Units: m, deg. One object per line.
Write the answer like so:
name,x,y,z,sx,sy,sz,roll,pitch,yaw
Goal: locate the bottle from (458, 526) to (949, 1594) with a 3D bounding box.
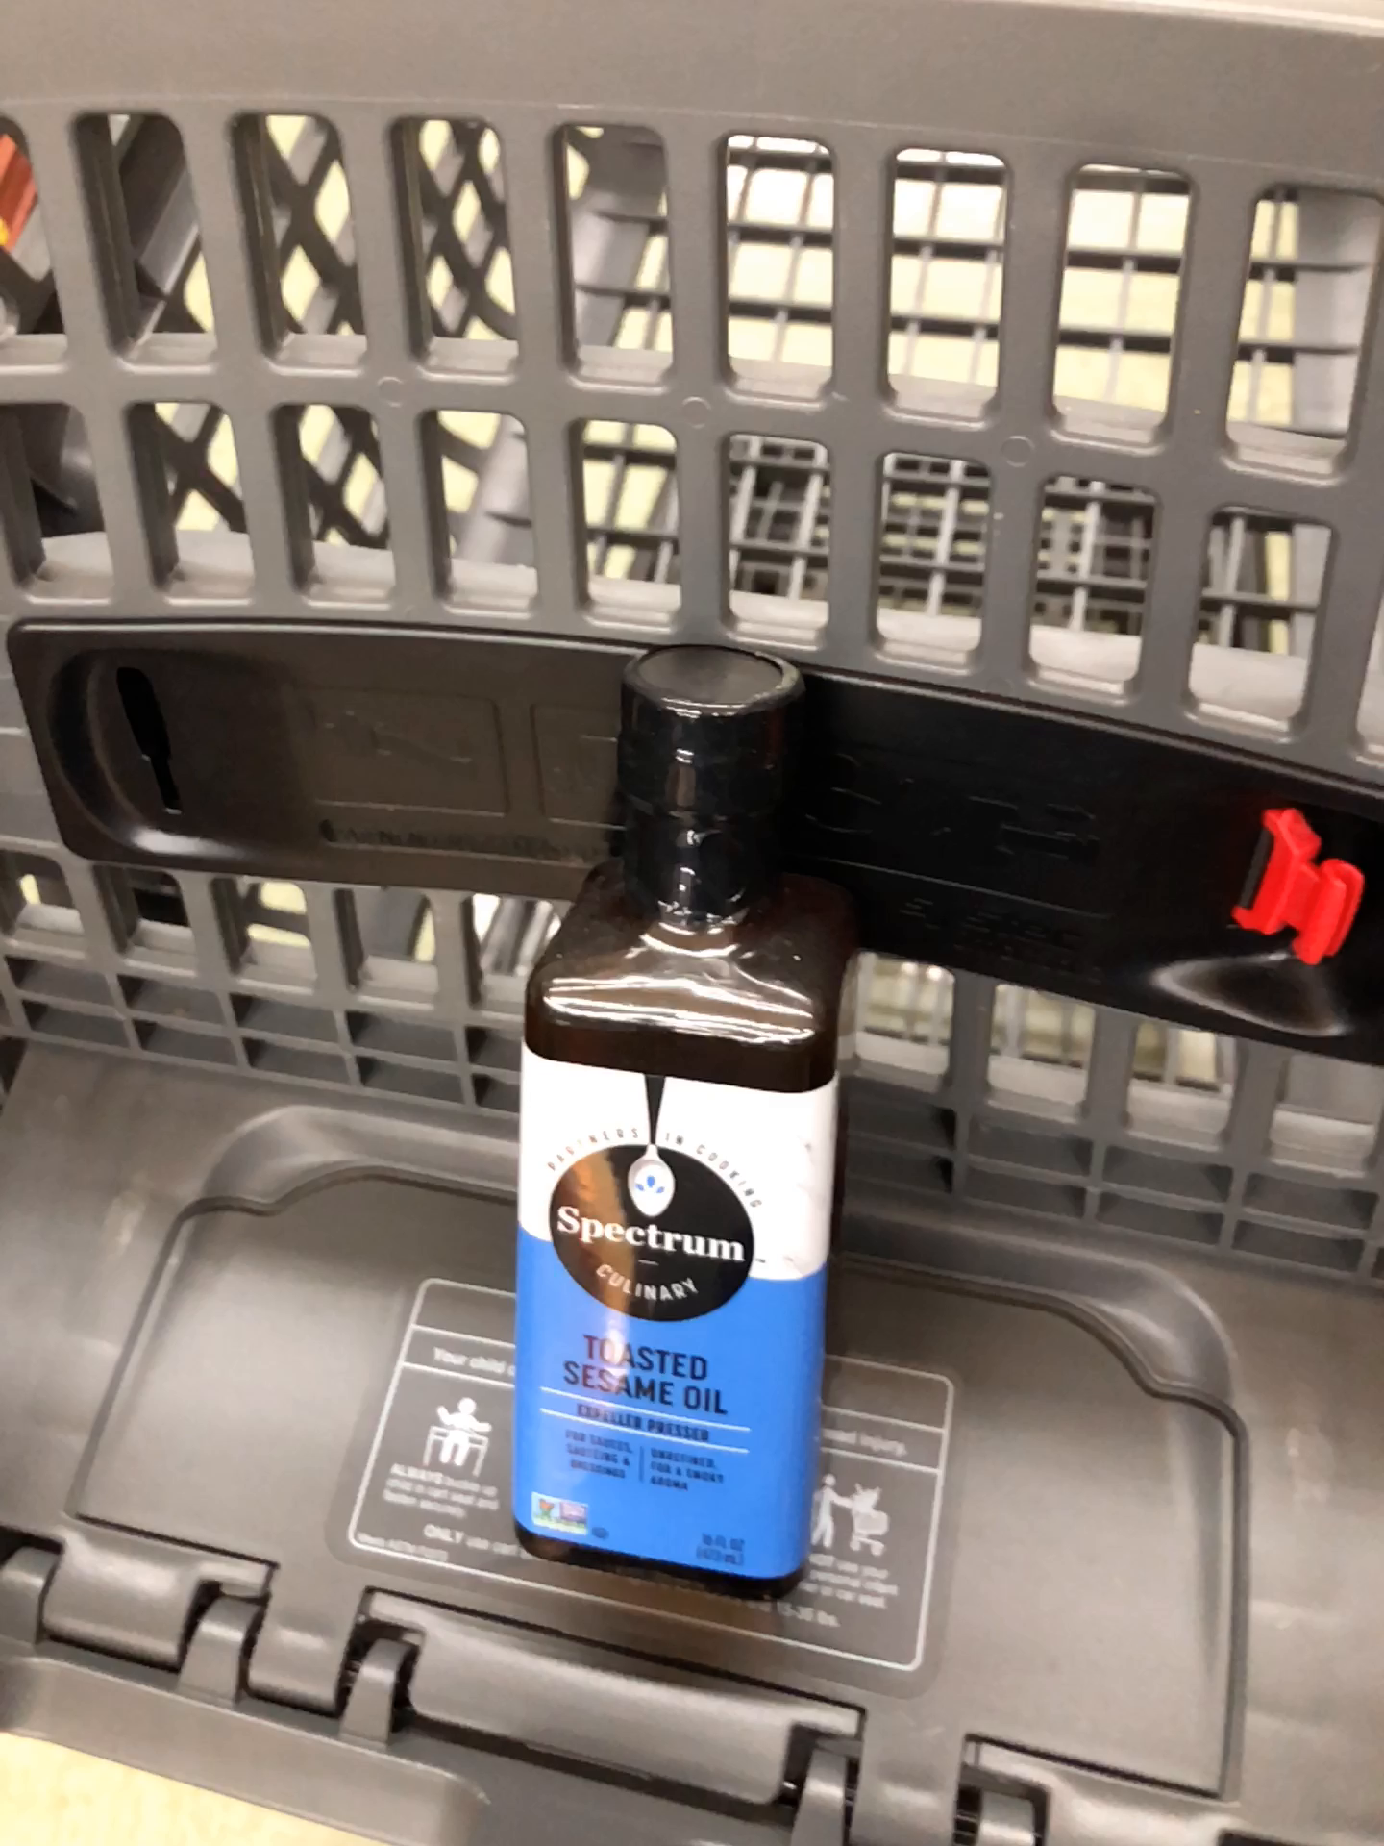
bottle,0.002,0.033,0.302,0.070,0.200,0.060,7,29,10
